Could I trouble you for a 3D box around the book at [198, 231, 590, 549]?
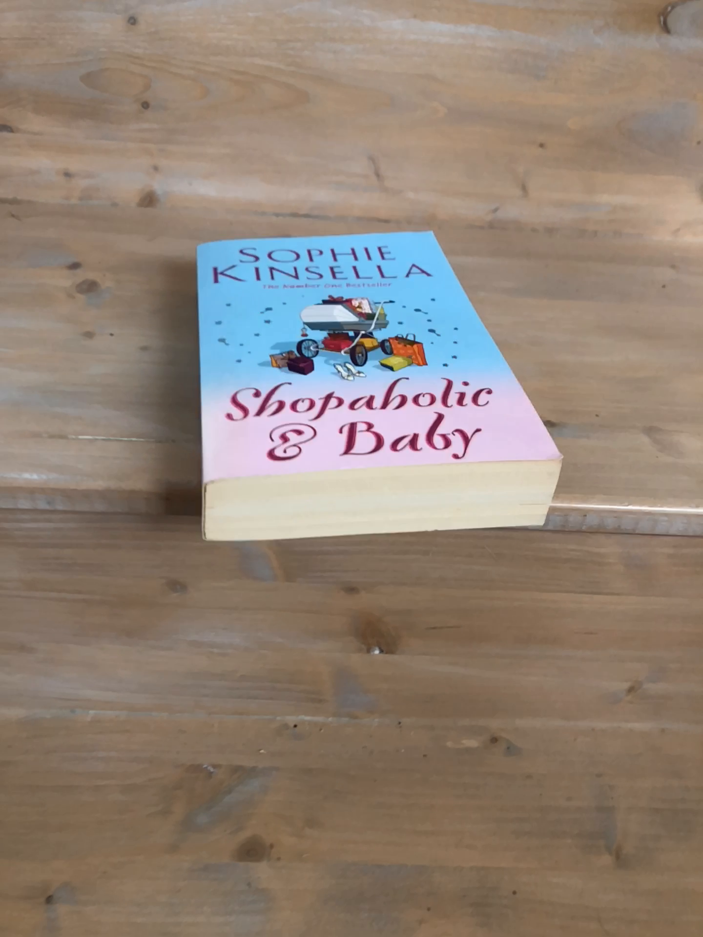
[{"bbox_3d":[0.000,-0.053,0.352,0.131,0.031,0.212,-4,37,-9],"label":"book"}]
